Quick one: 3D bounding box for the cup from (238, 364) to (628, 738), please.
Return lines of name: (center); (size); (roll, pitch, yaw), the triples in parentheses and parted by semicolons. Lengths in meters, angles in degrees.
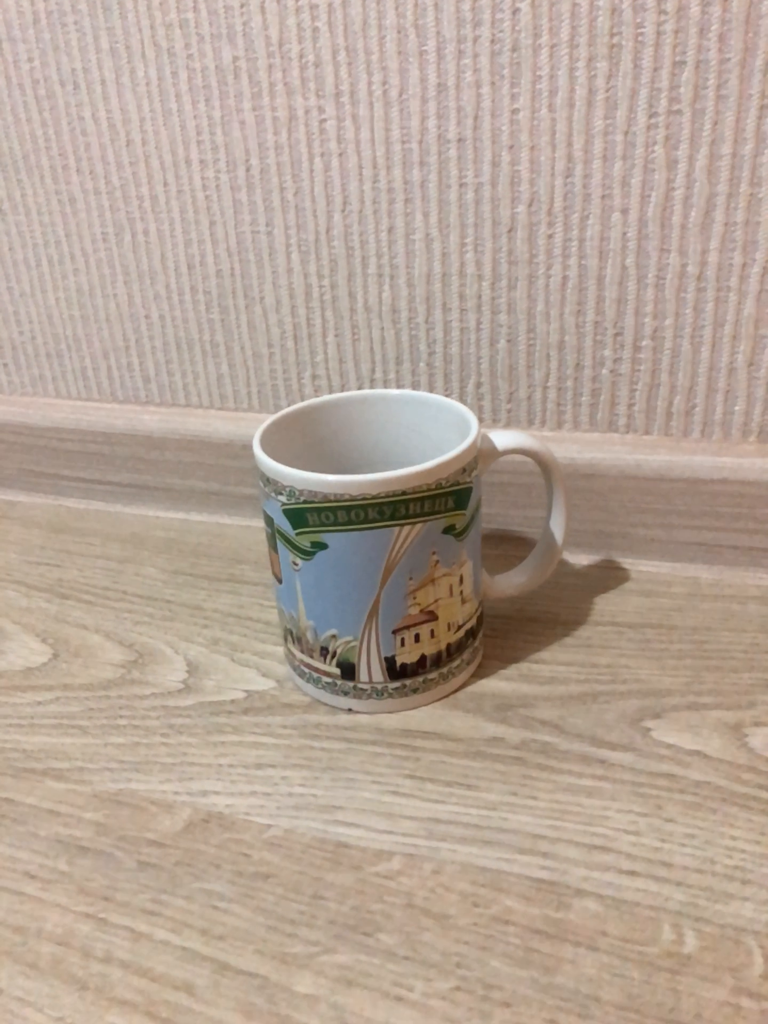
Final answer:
cup: (0.014, 0.009, 0.320); (0.121, 0.096, 0.082); (-9, 27, -9)
